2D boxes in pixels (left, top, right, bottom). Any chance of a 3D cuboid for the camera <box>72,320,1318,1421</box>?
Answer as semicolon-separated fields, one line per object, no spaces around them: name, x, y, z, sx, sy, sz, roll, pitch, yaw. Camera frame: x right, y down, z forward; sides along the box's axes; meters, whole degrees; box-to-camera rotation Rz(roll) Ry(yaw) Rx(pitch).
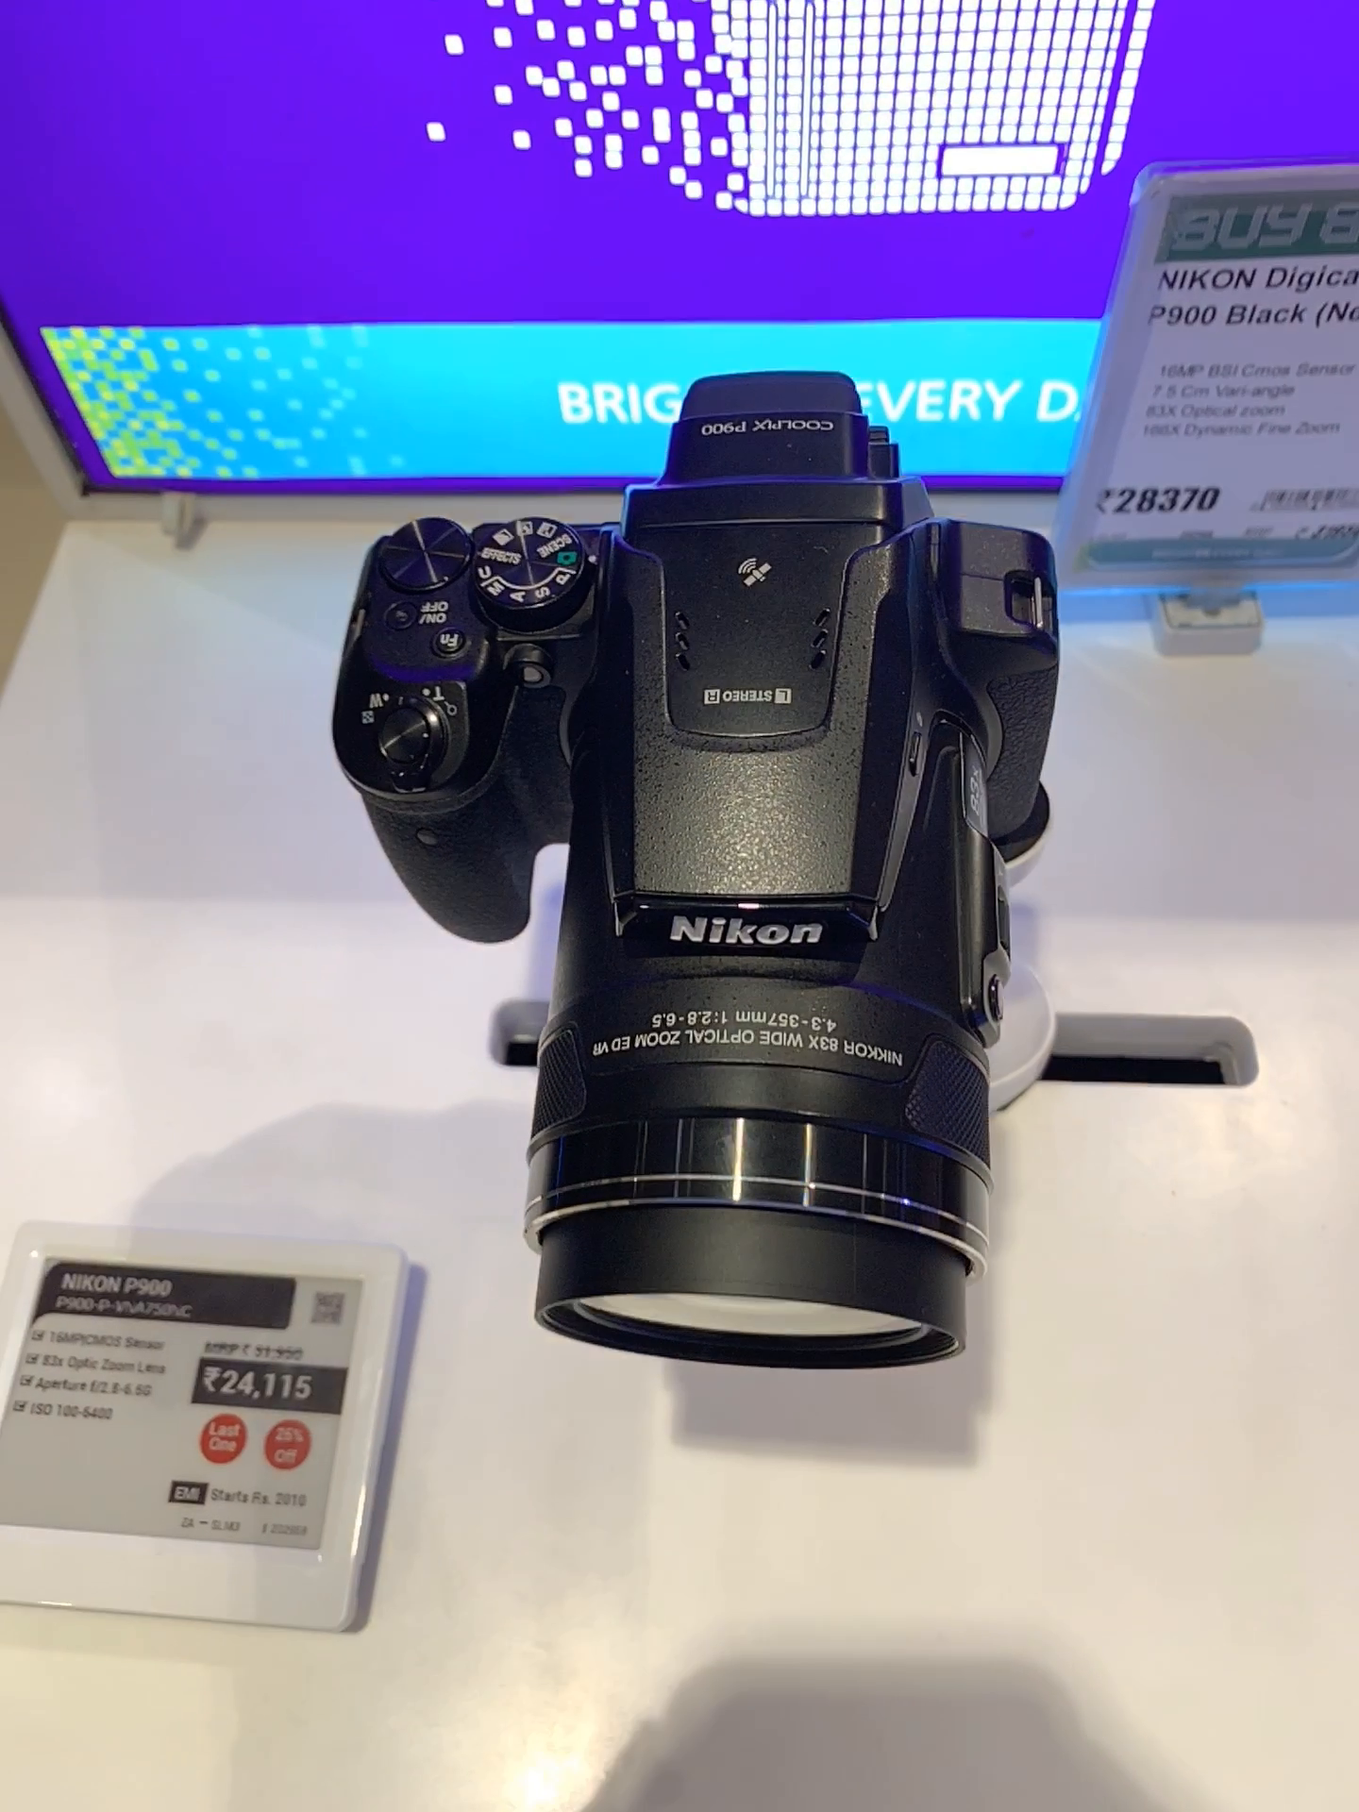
camera;0.005;-0.008;0.238;0.140;0.090;0.160;1;59;3
